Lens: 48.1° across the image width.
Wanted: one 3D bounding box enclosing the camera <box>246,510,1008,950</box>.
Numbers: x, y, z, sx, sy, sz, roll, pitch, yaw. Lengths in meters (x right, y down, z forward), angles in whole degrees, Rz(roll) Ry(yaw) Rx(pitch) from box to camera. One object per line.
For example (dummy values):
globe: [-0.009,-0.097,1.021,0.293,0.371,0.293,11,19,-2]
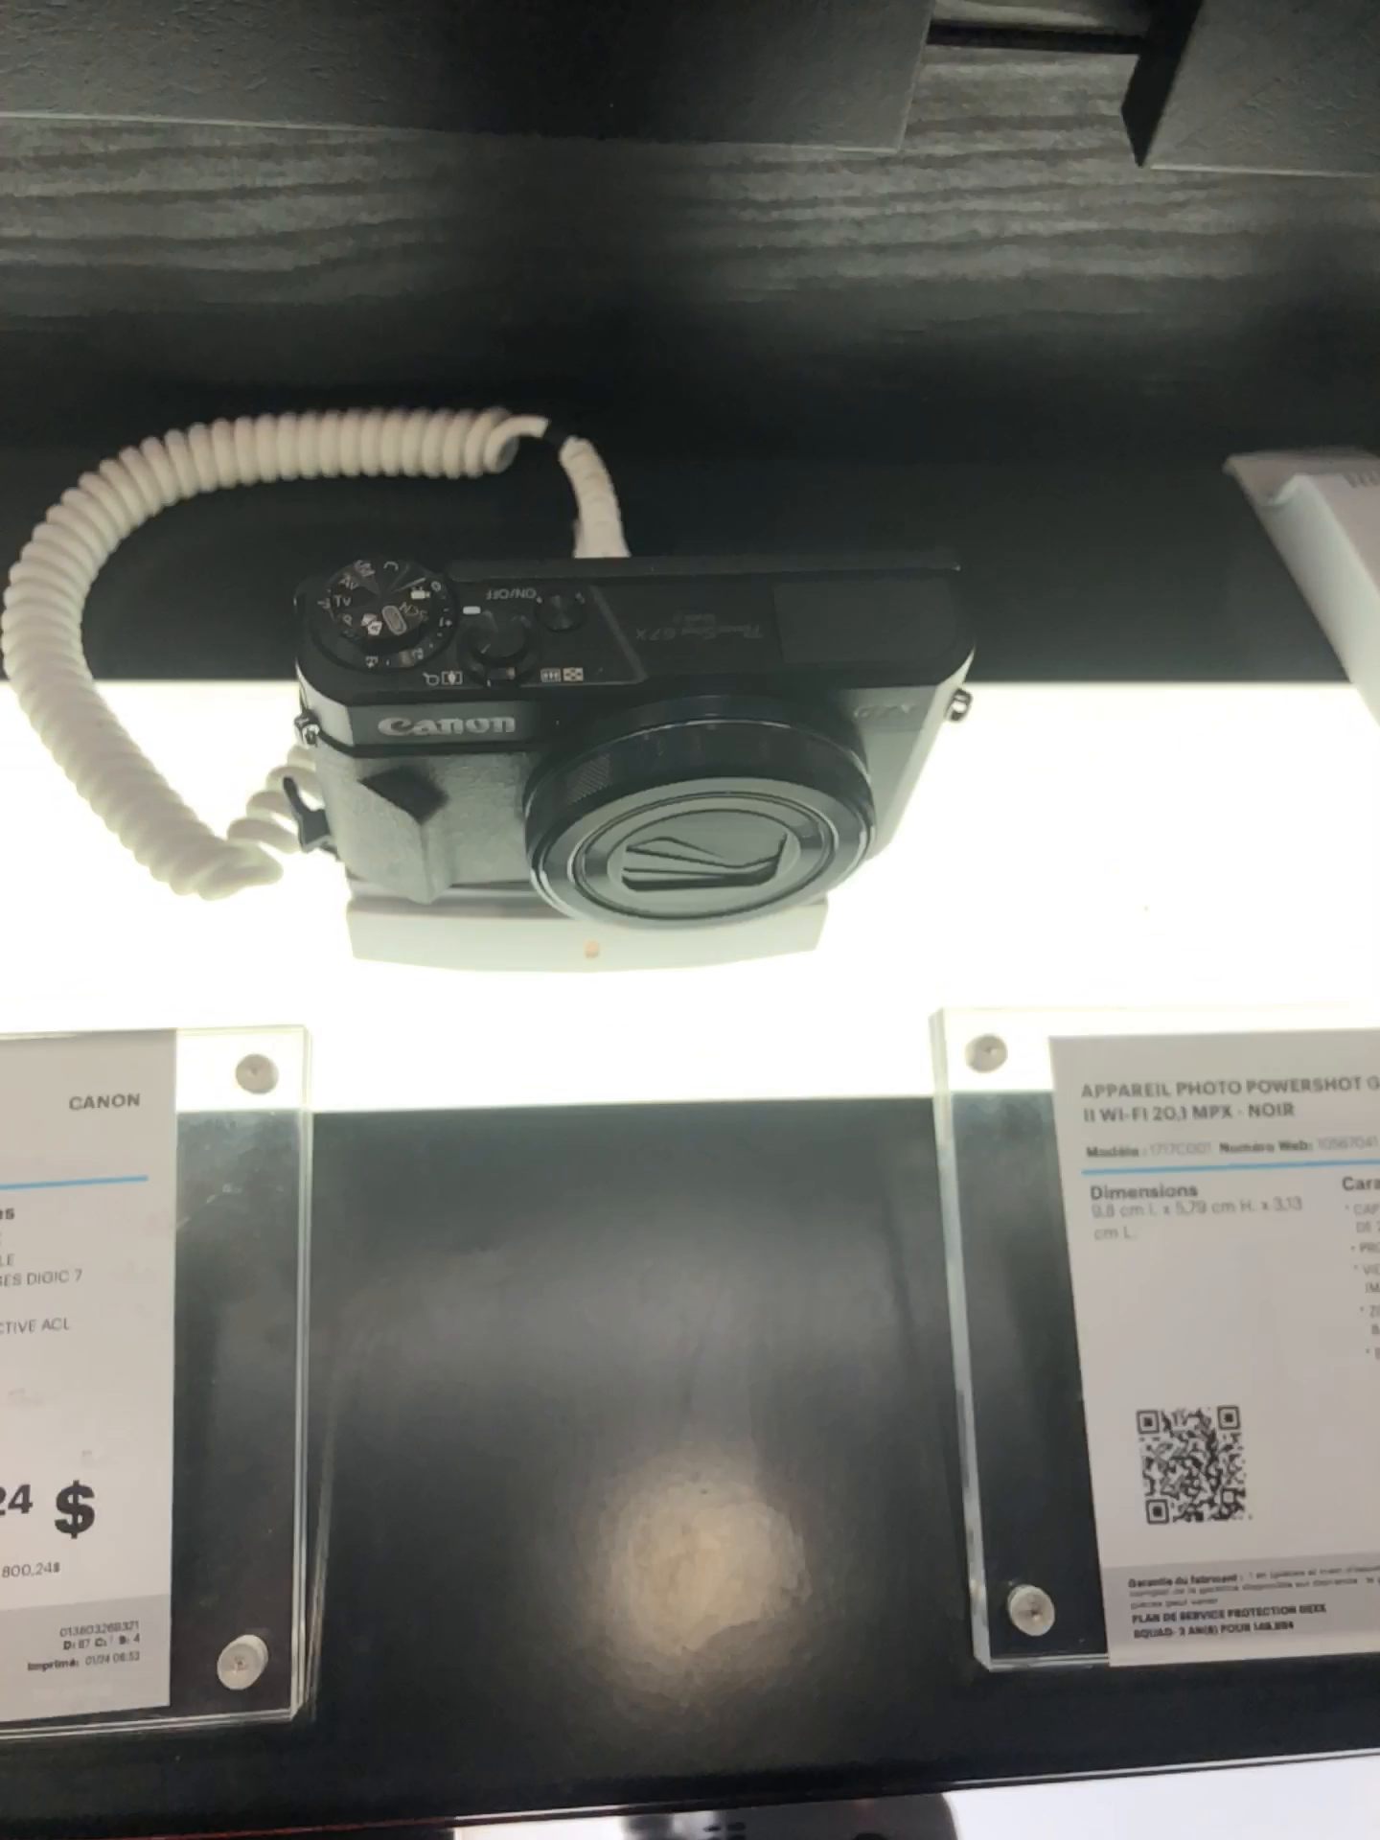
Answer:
camera: [-0.012,-0.030,0.264,0.110,0.080,0.030,-3,61,-8]
